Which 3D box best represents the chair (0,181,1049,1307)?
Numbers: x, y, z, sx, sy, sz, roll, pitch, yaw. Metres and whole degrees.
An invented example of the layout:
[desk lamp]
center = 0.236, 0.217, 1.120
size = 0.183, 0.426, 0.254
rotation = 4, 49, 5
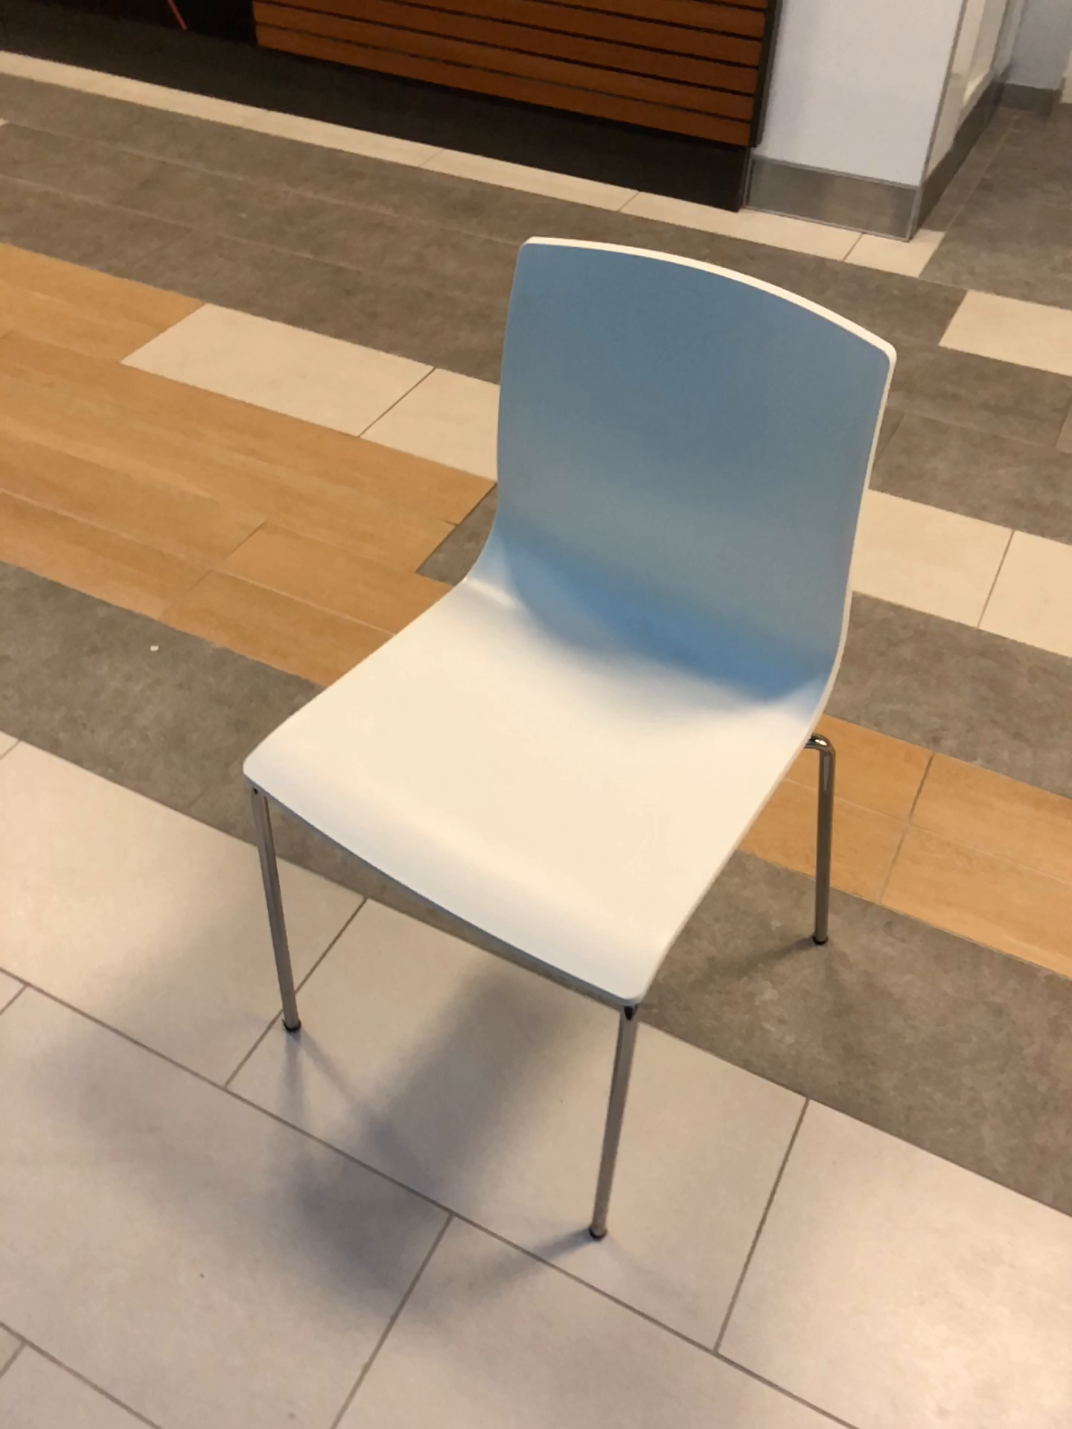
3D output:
[chair]
center = 0.012, 0.031, 1.145
size = 0.581, 0.776, 0.552
rotation = 24, 50, 21
